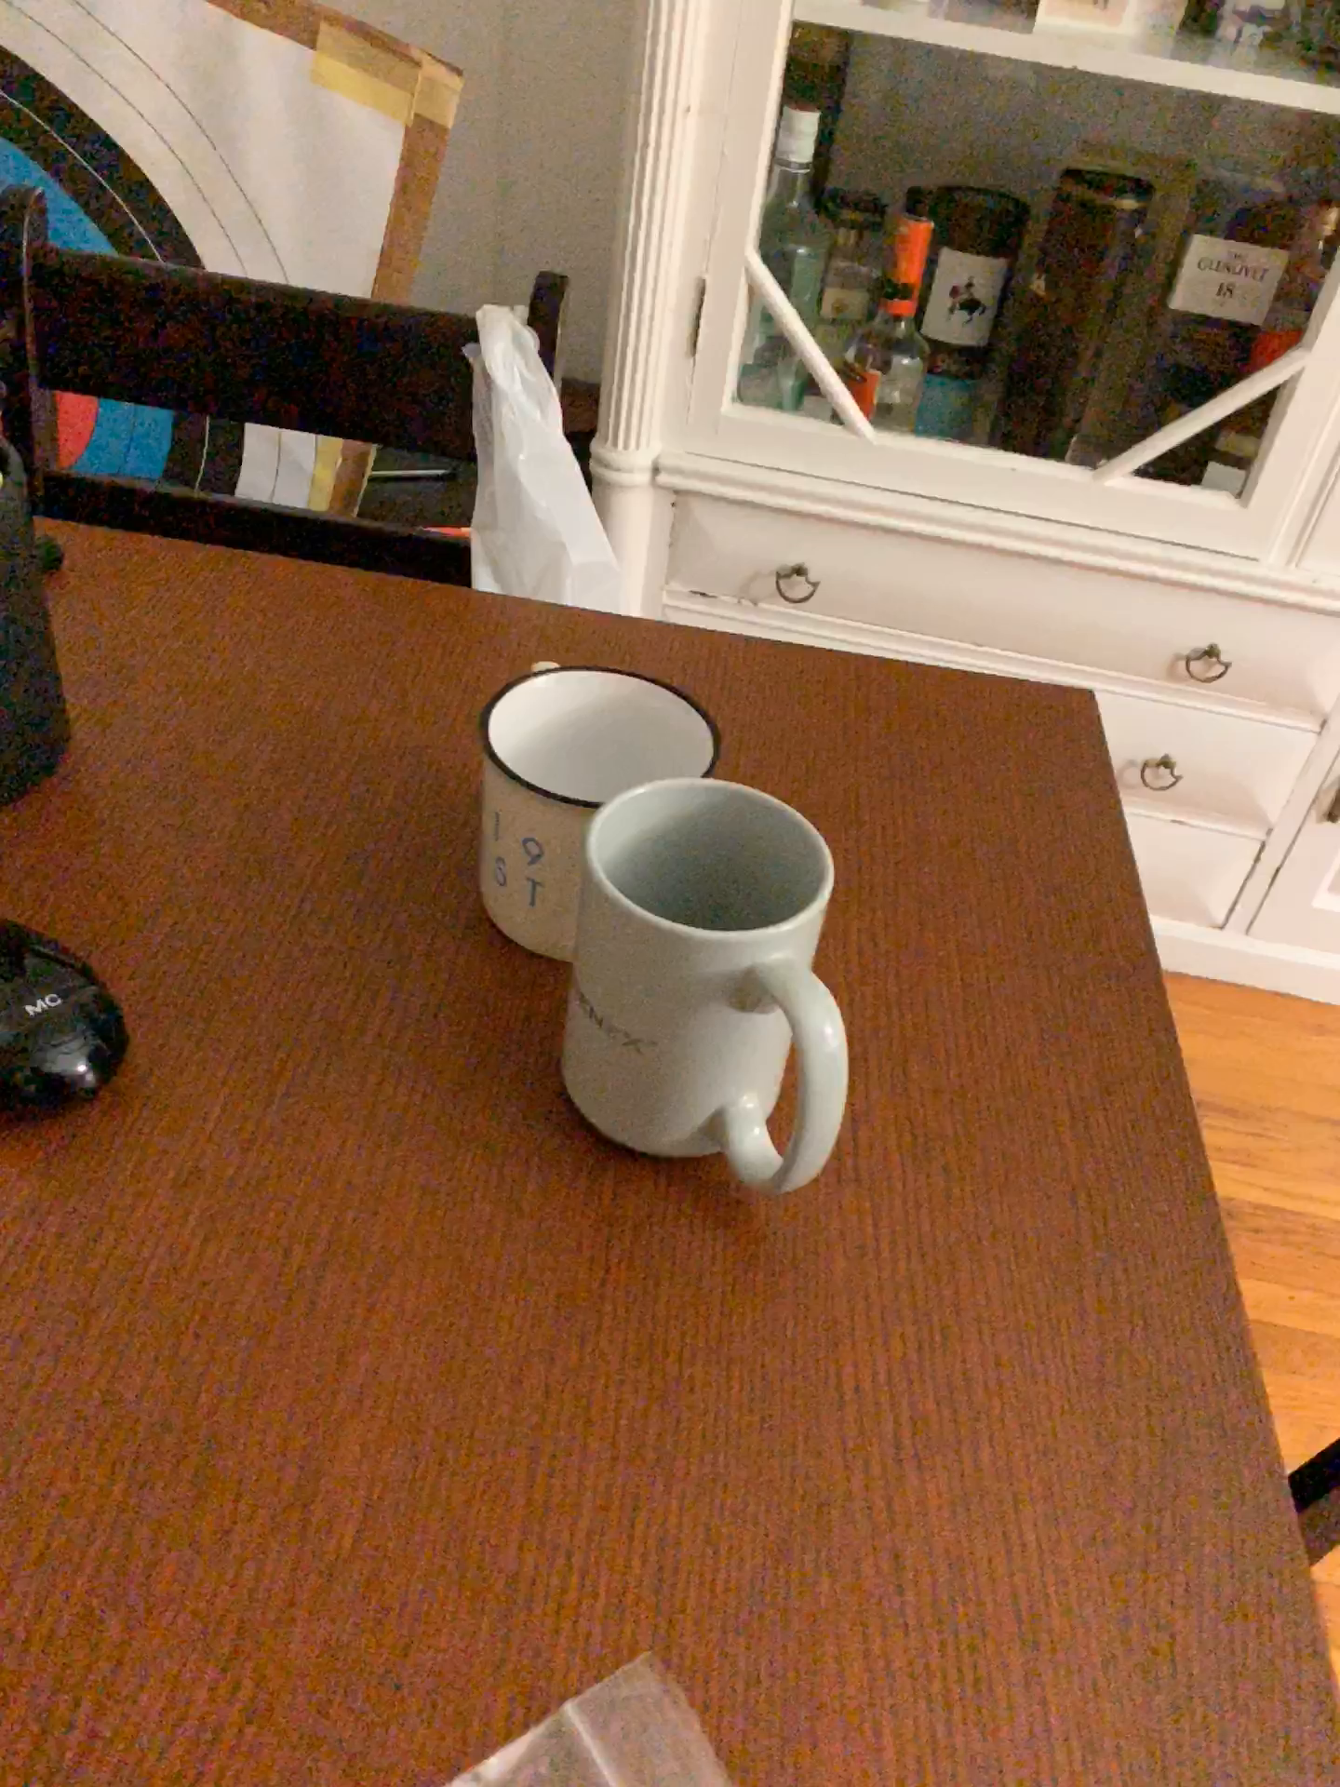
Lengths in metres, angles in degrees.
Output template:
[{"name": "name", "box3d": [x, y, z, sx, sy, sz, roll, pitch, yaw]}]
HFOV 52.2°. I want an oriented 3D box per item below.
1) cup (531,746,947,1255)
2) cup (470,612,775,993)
[{"name": "cup", "box3d": [0.013, 0.031, 0.474, 0.100, 0.099, 0.141, -2, 41, -13]}, {"name": "cup", "box3d": [-0.028, -0.042, 0.581, 0.100, 0.099, 0.131, -2, 41, -13]}]
